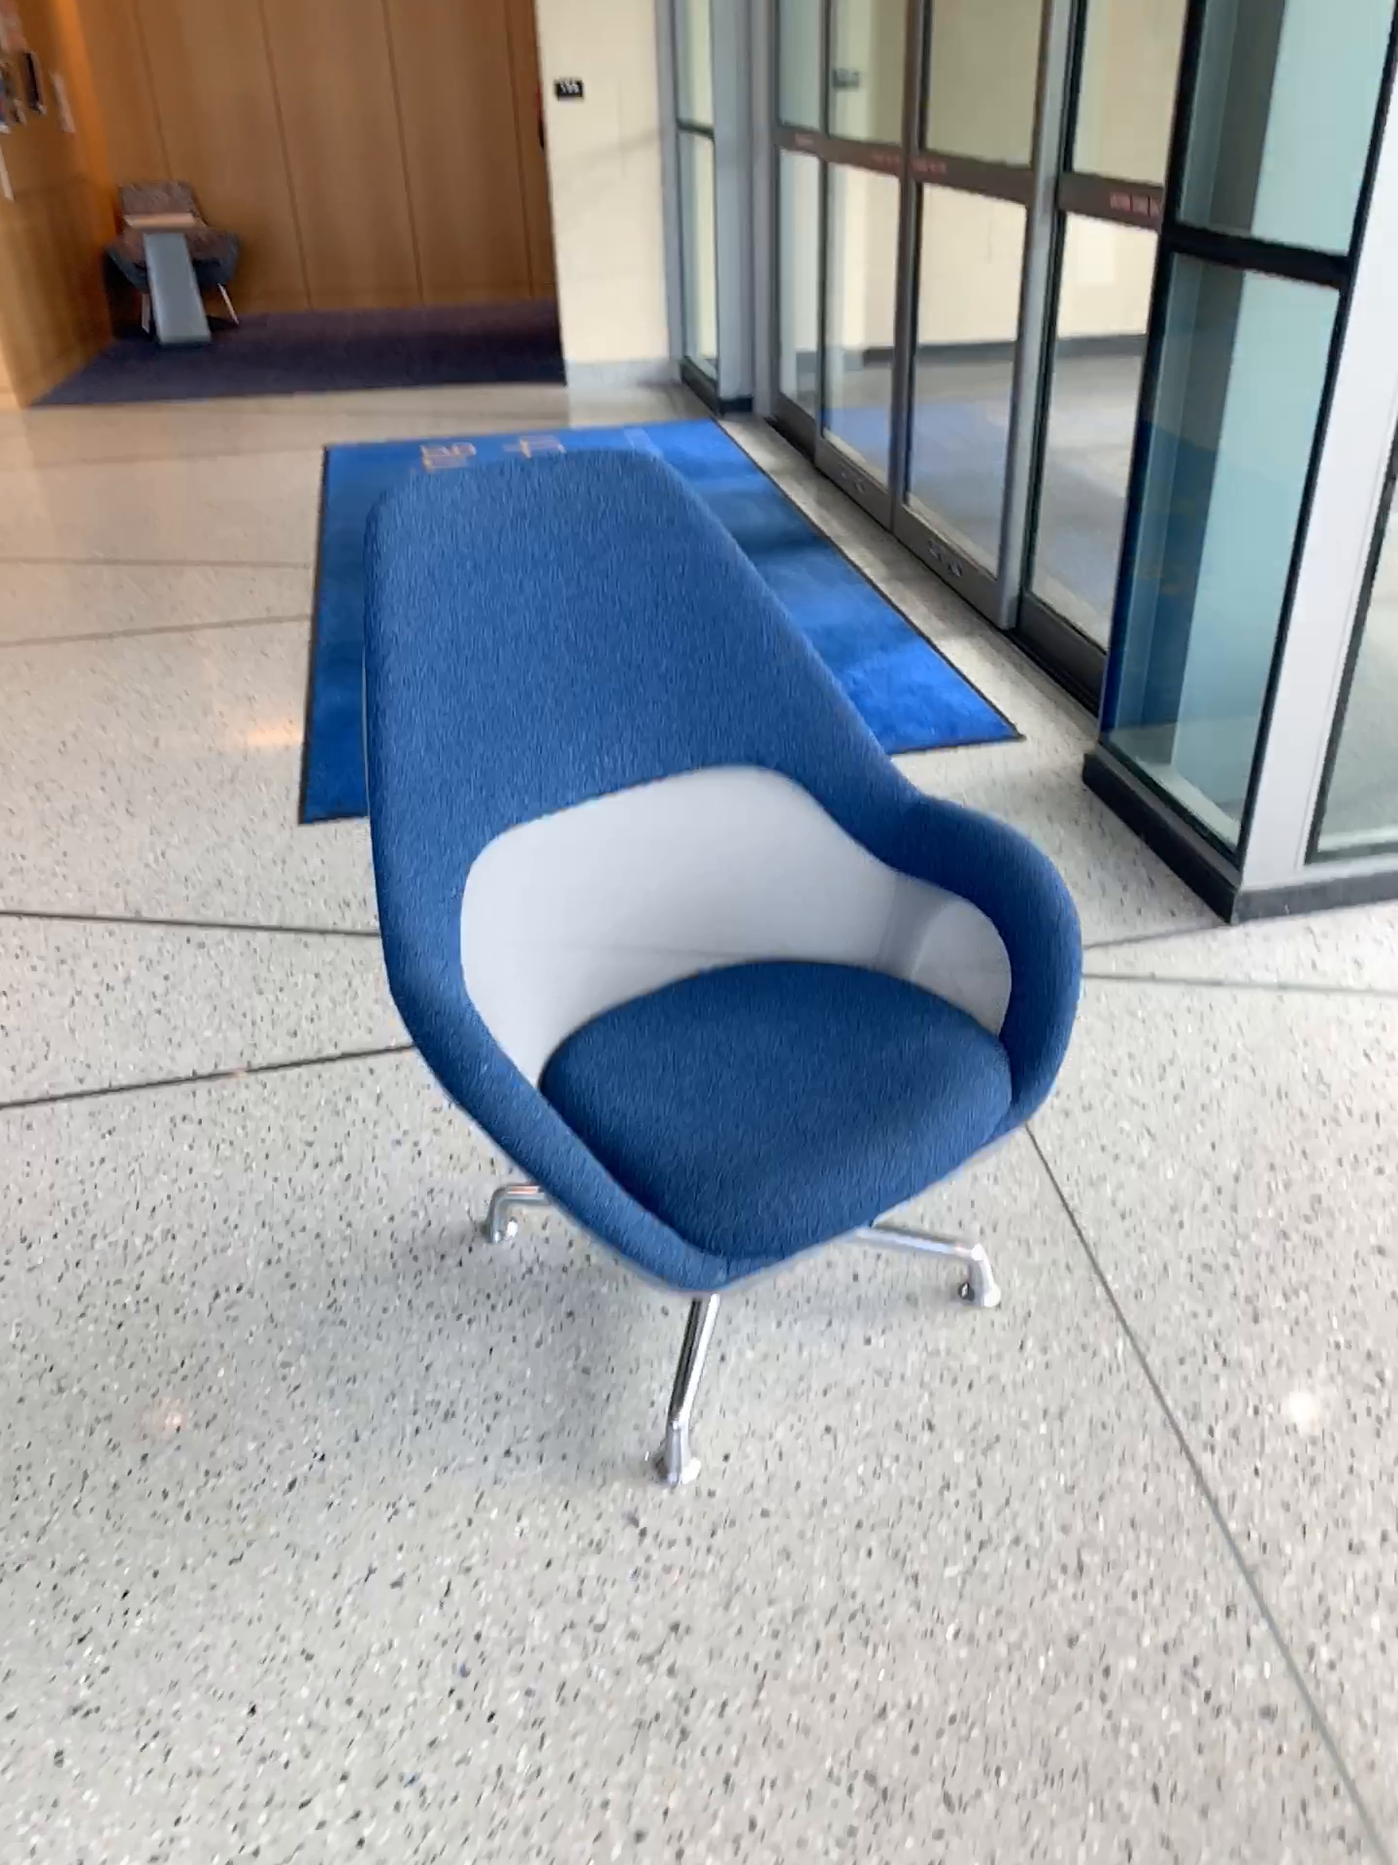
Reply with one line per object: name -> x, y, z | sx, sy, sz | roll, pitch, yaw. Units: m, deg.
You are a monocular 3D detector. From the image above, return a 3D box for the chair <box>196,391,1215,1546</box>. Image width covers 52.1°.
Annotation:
chair -> -0.018, -0.043, 1.698 | 0.726, 0.933, 0.789 | -21, 36, -28
